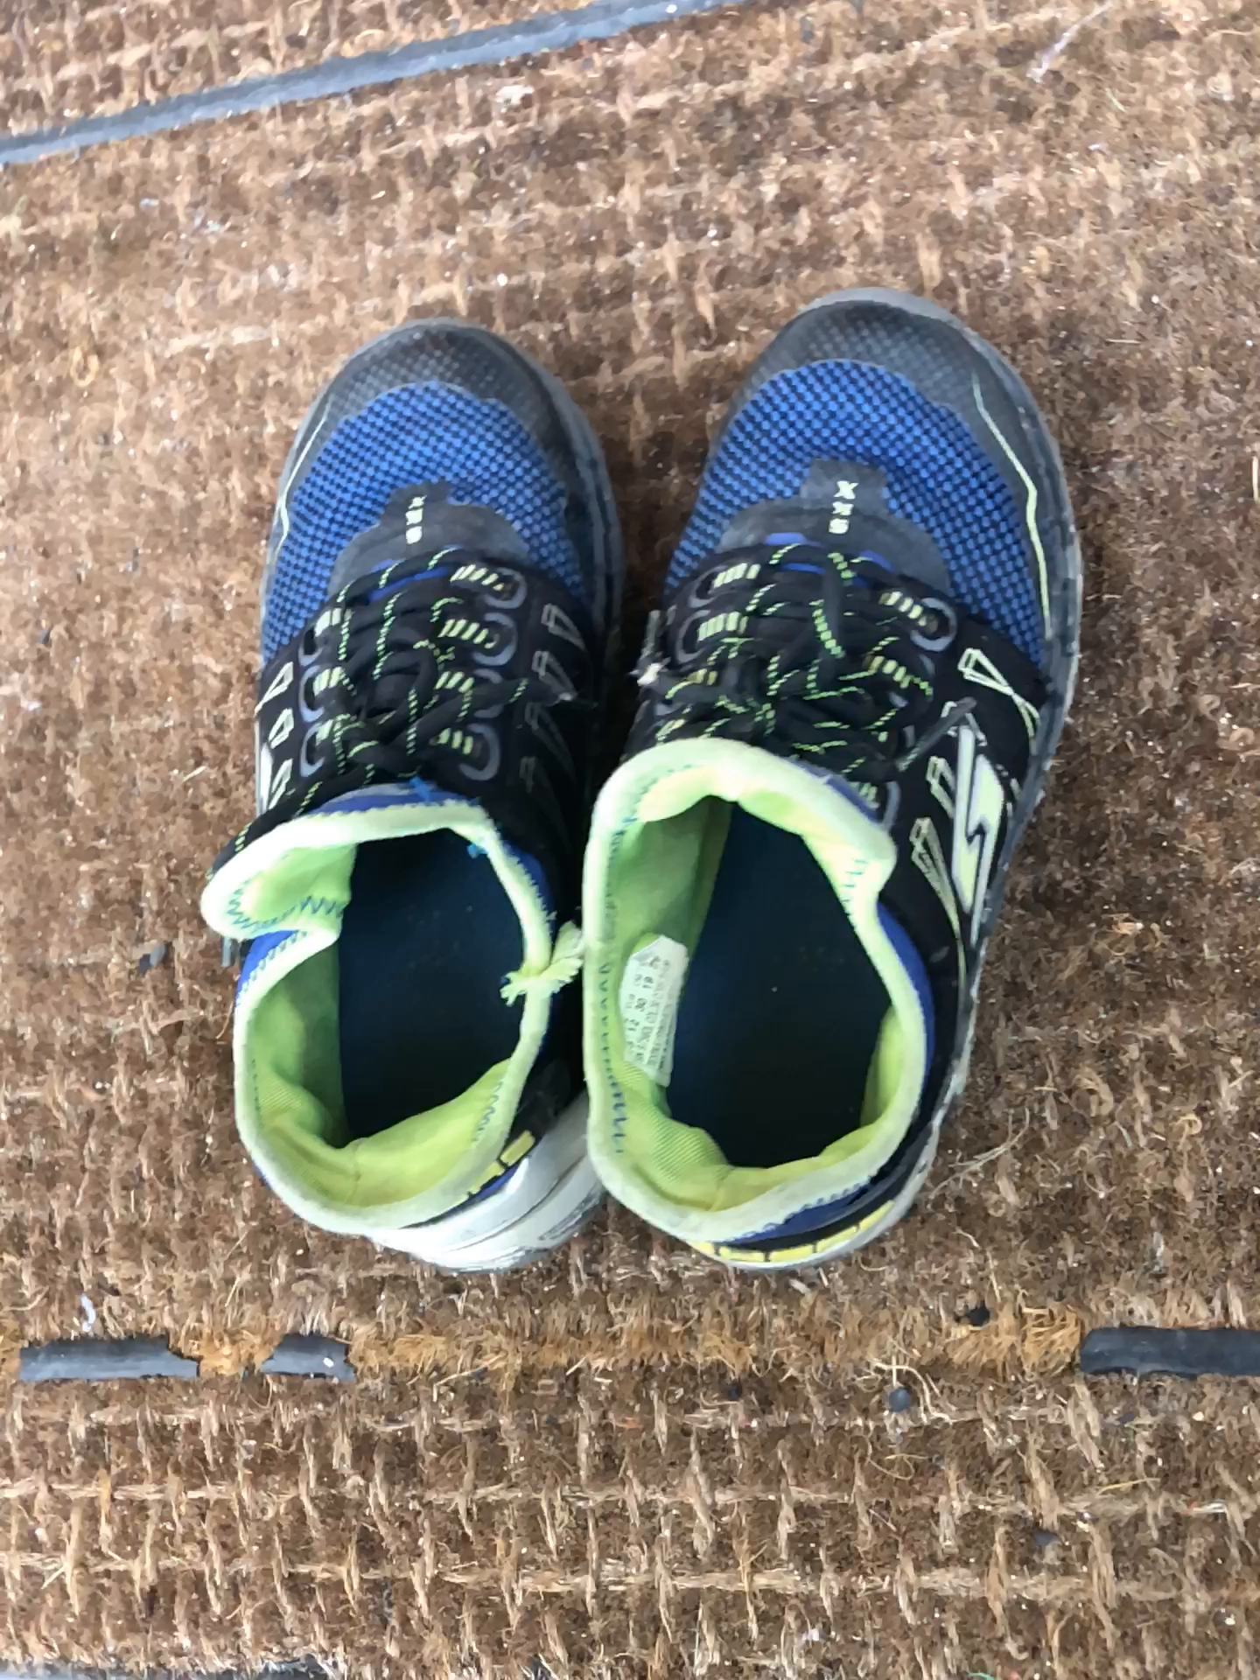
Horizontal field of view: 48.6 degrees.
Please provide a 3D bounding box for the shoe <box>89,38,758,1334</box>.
[{"bbox_3d":[-0.041,-0.026,0.303,0.090,0.100,0.230,-10,79,13],"label":"shoe"}]

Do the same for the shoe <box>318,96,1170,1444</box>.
[{"bbox_3d":[0.029,-0.014,0.265,0.090,0.100,0.200,12,85,16],"label":"shoe"}]
